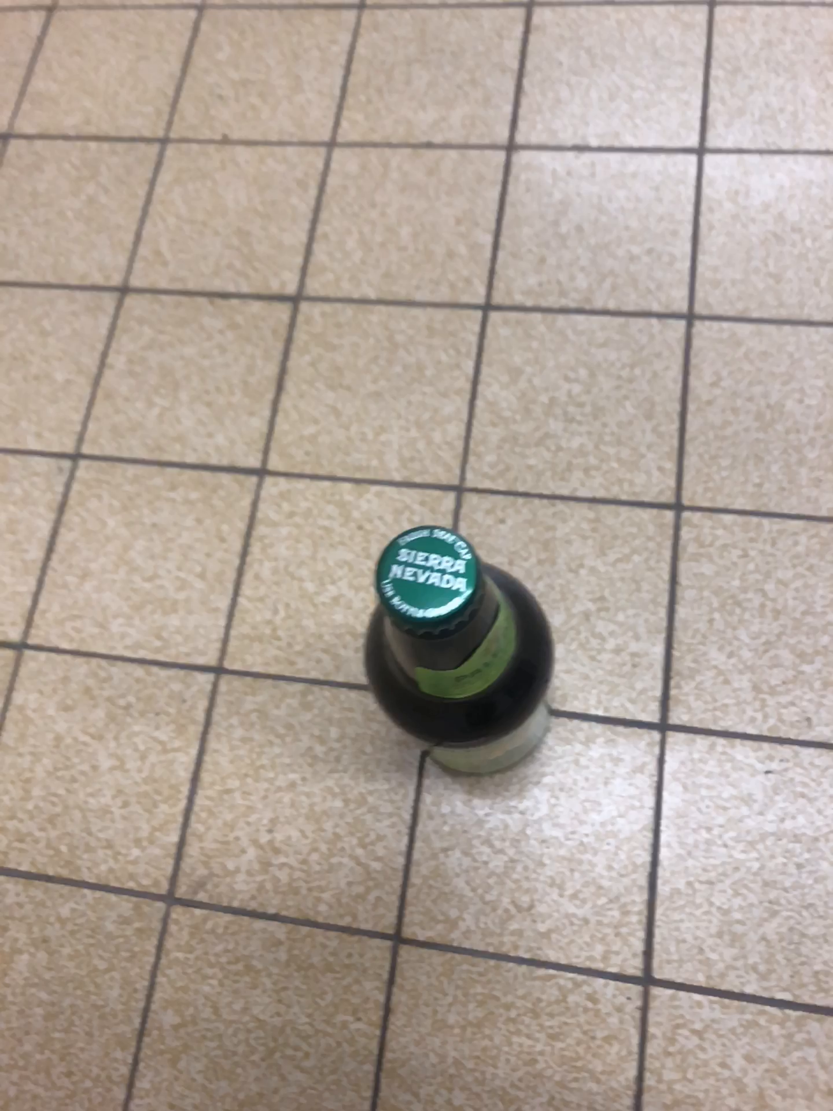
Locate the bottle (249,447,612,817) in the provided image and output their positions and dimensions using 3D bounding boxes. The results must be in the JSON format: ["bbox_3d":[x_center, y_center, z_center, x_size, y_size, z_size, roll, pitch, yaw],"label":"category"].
[{"bbox_3d":[0.017,0.041,0.316,0.070,0.190,0.060,24,77,15],"label":"bottle"}]
